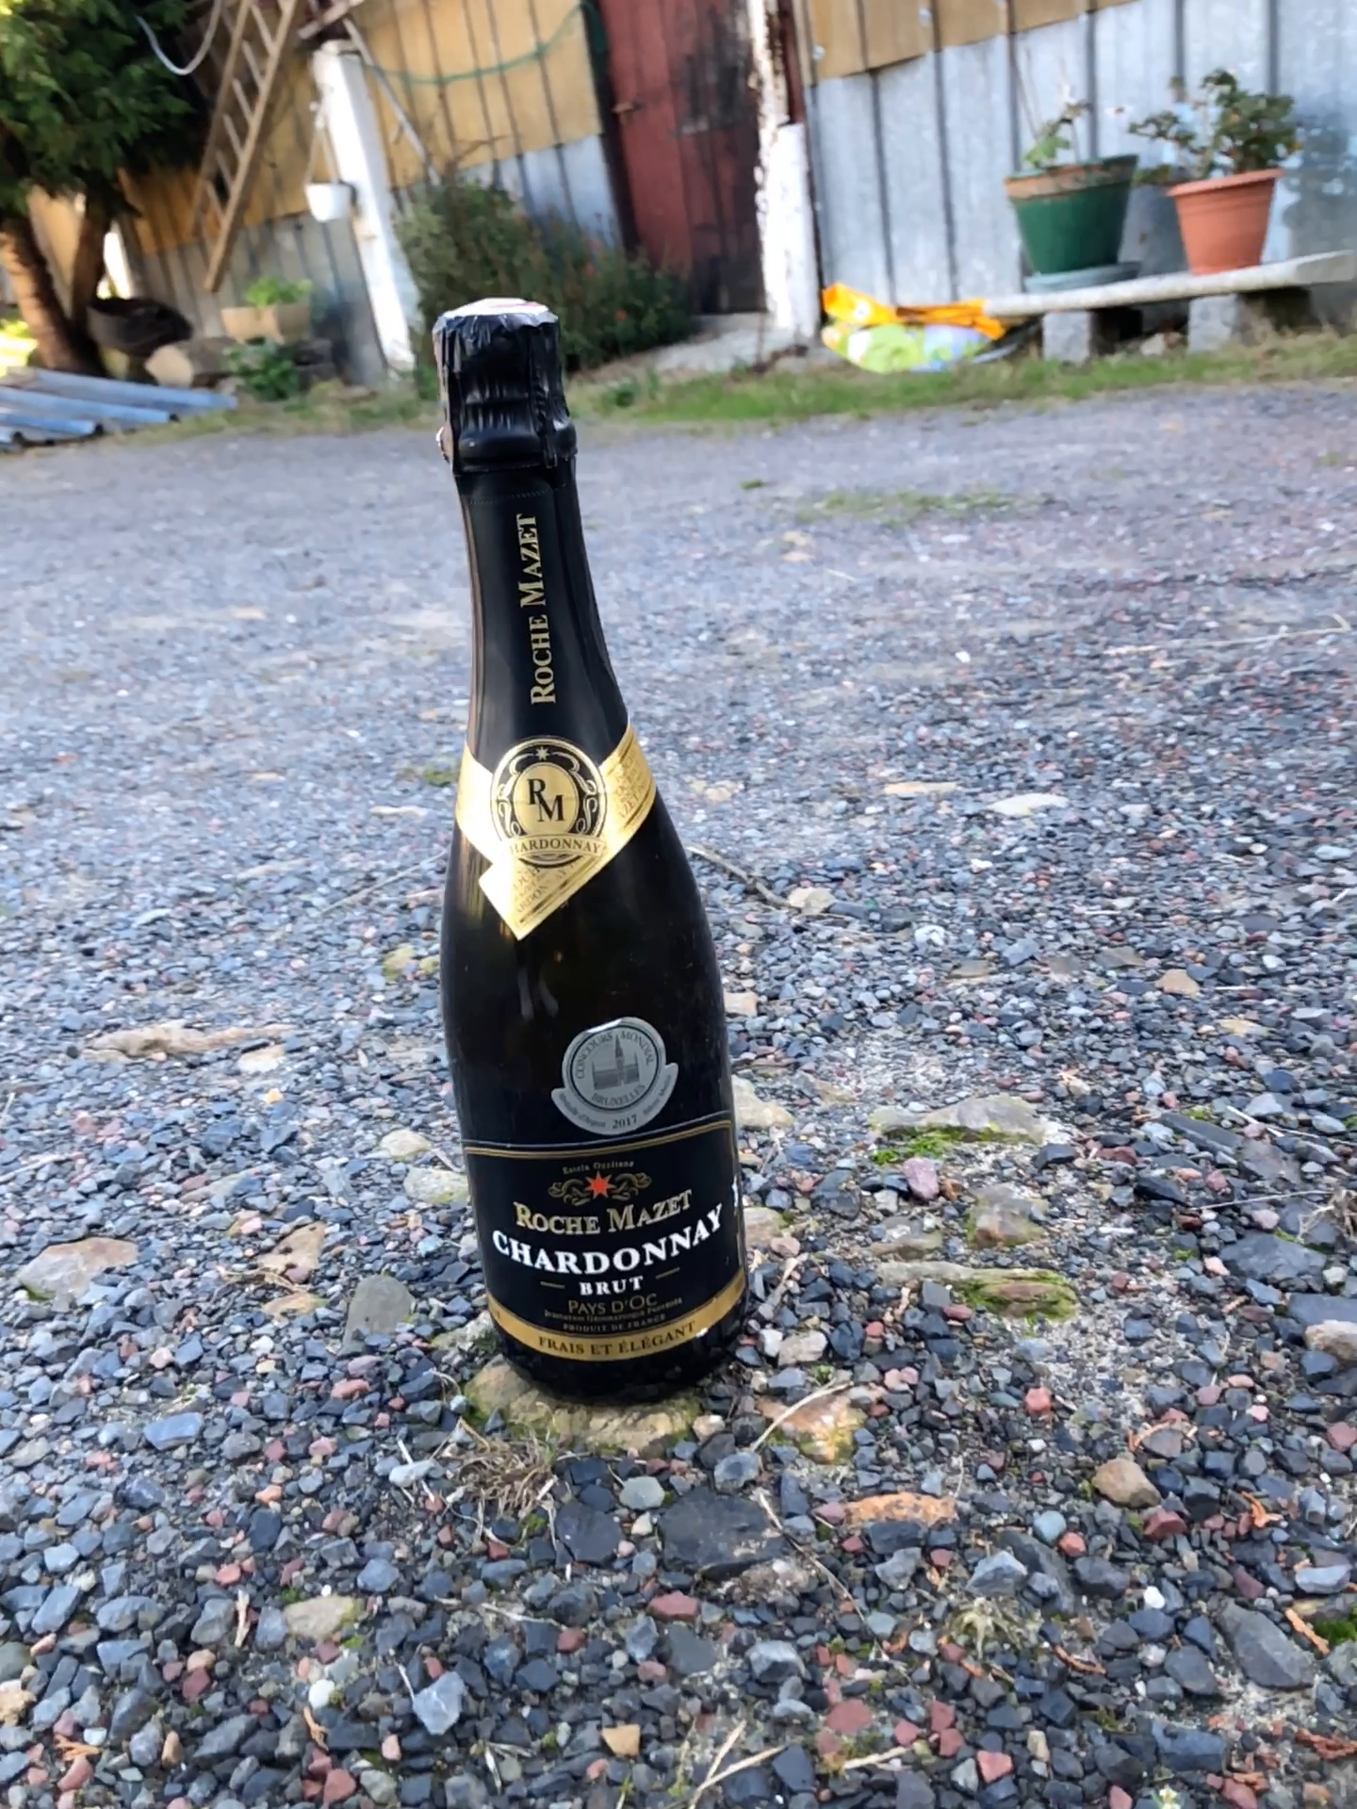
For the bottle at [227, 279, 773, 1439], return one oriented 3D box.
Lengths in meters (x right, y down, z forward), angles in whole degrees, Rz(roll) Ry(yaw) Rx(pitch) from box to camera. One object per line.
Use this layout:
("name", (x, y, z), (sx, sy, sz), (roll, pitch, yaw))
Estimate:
("bottle", (-0.035, -0.009, 0.415), (0.100, 0.298, 0.101), (-4, 22, 2))
